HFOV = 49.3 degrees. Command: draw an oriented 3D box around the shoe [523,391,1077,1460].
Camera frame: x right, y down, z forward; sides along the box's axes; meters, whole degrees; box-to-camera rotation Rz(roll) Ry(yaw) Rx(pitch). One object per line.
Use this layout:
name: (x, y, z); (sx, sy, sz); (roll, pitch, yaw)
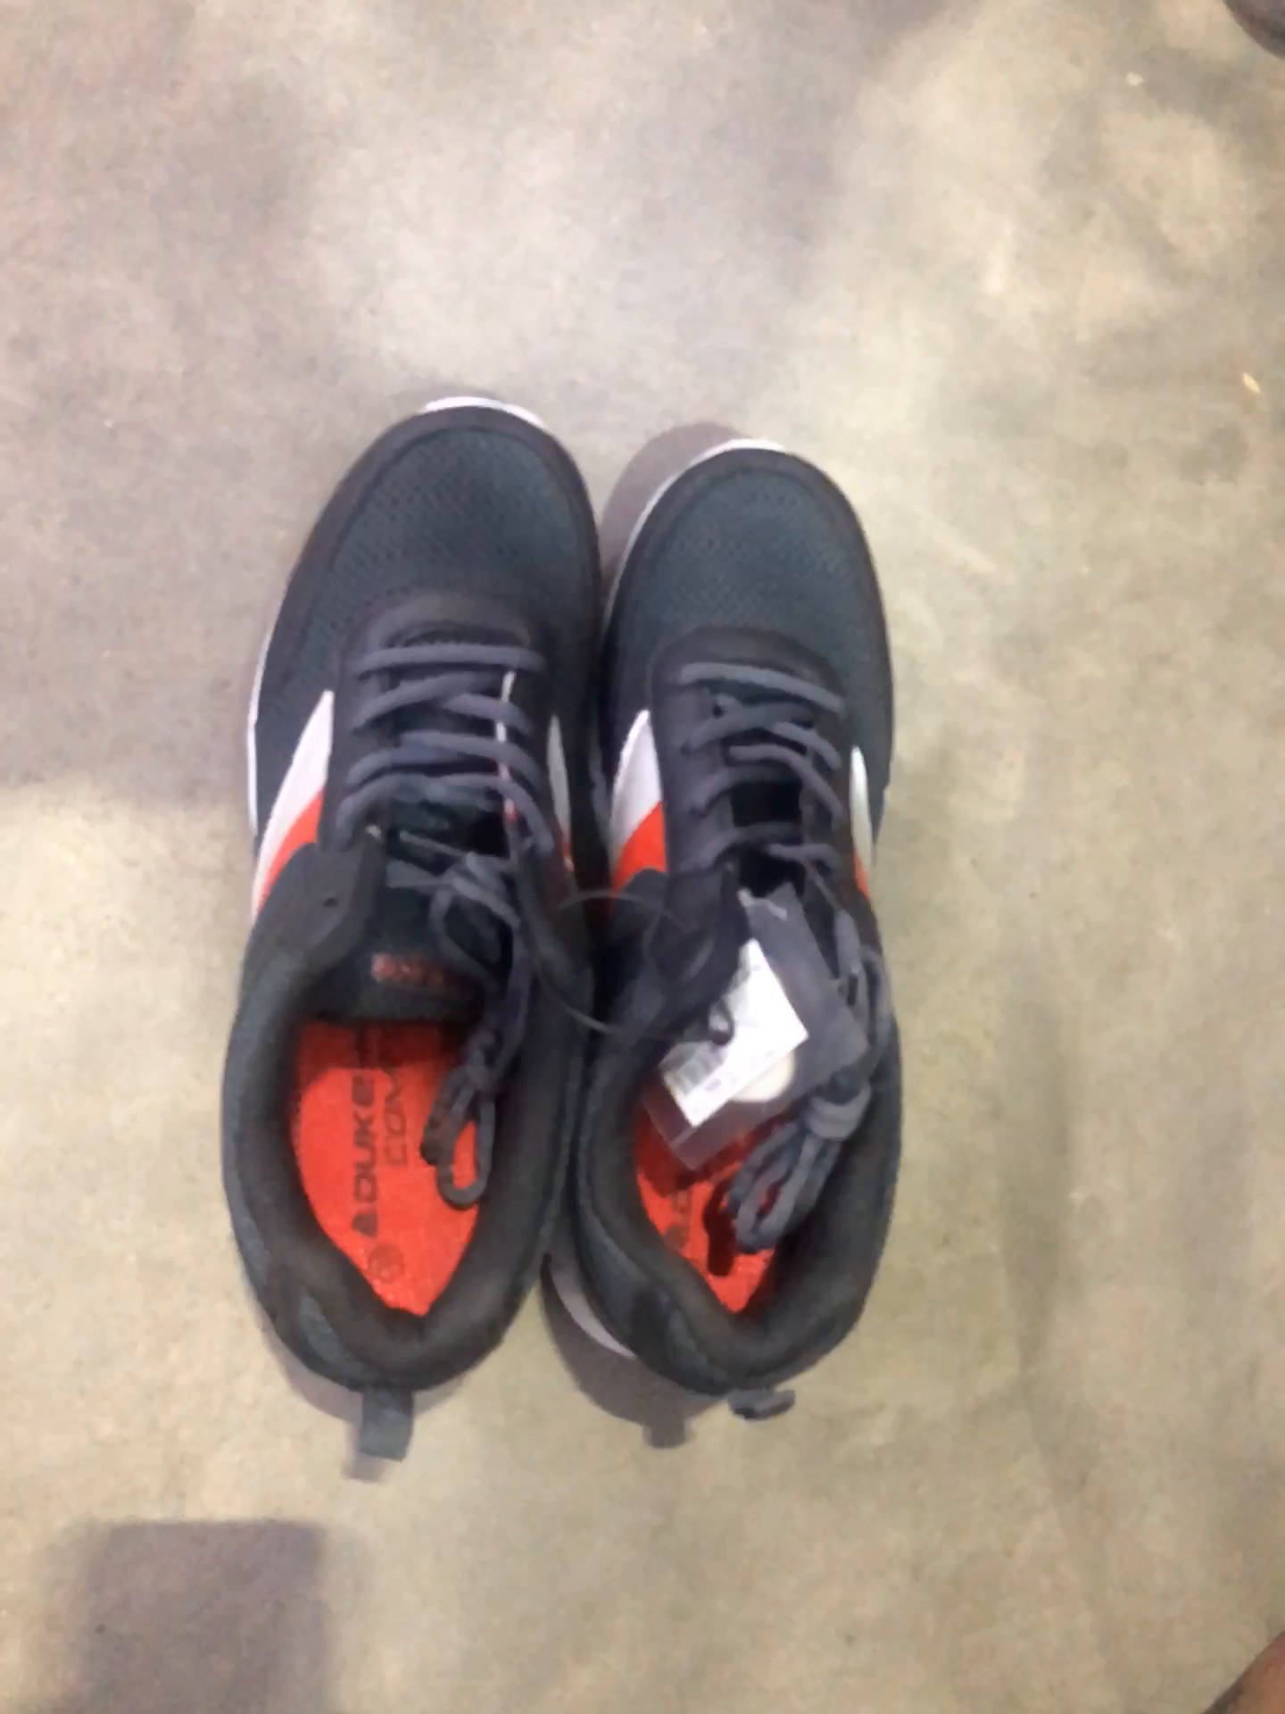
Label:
shoe: (0.043, 0.021, 0.418); (0.110, 0.100, 0.270); (8, 84, -12)

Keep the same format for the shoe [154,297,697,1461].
shoe: (-0.059, 0.008, 0.384); (0.110, 0.100, 0.270); (5, 85, -13)
